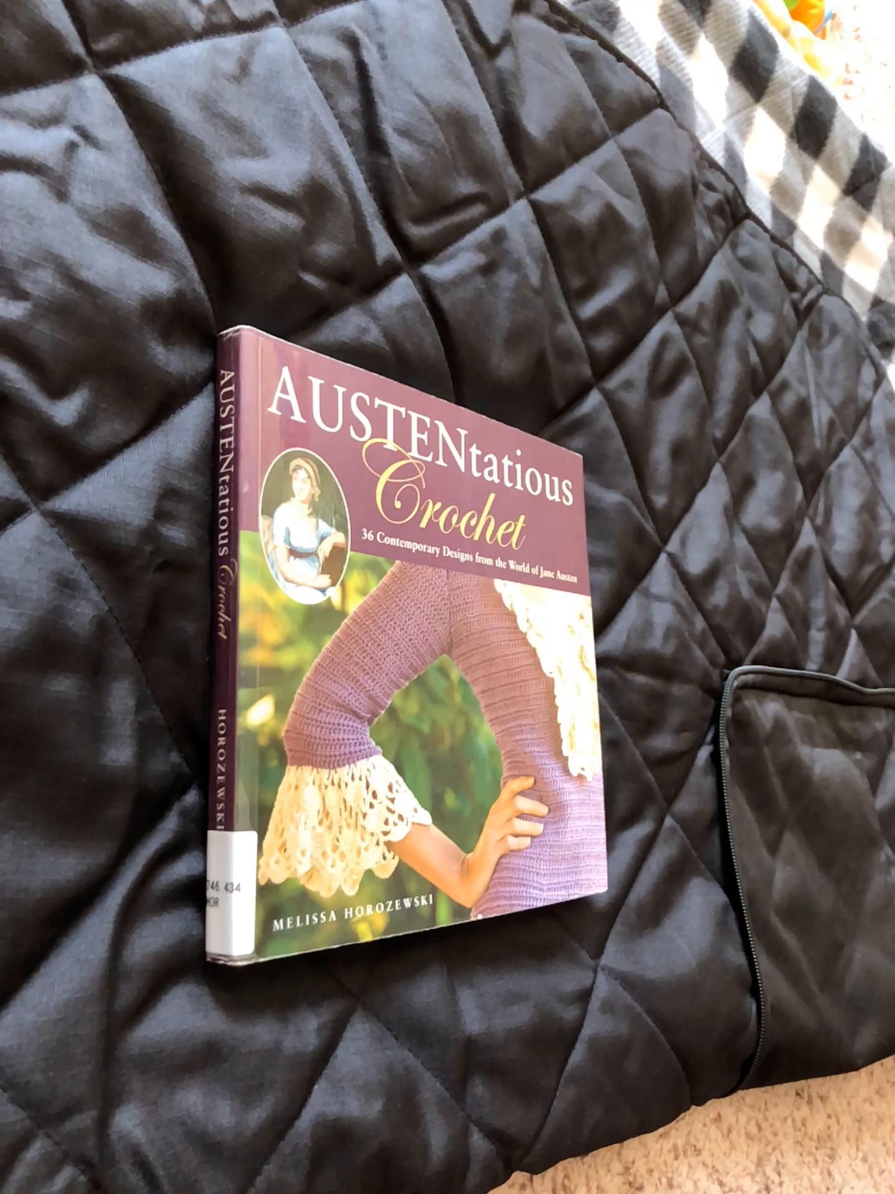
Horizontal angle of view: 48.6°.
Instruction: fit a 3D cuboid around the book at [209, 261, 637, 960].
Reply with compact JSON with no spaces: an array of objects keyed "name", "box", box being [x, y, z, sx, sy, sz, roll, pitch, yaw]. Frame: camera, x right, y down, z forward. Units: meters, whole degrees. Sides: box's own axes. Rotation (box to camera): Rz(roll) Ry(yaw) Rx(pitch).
[{"name":"book","box":[0.002,0.010,0.410,0.221,0.020,0.230,9,75,-47]}]
